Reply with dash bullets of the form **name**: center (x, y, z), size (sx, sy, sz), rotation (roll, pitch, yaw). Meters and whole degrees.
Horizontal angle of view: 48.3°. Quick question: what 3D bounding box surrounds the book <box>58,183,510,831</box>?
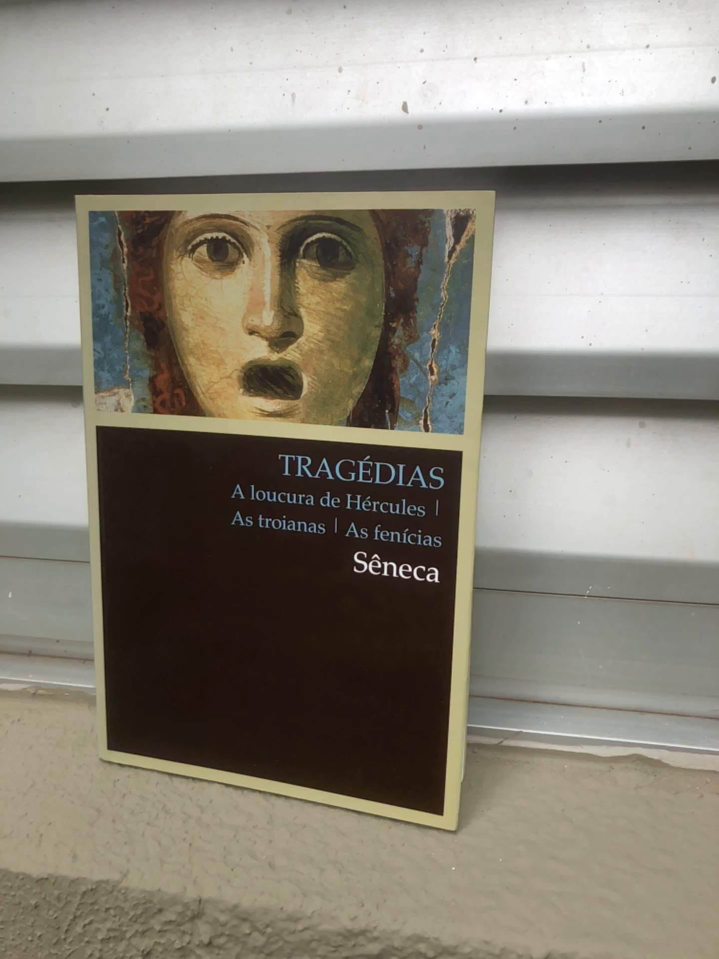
- **book**: center (-0.028, 0.008, 0.271), size (0.144, 0.197, 0.026), rotation (4, 10, 16)
